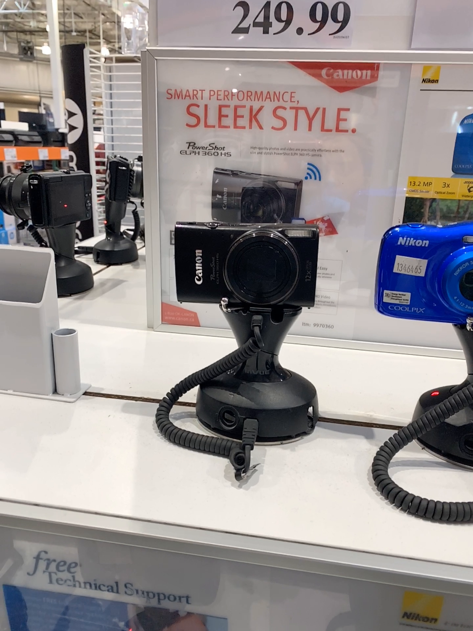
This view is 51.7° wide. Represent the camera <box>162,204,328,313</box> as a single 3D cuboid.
[{"bbox_3d":[0.005,-0.039,0.322,0.100,0.060,0.040,3,18,3],"label":"camera"}]
